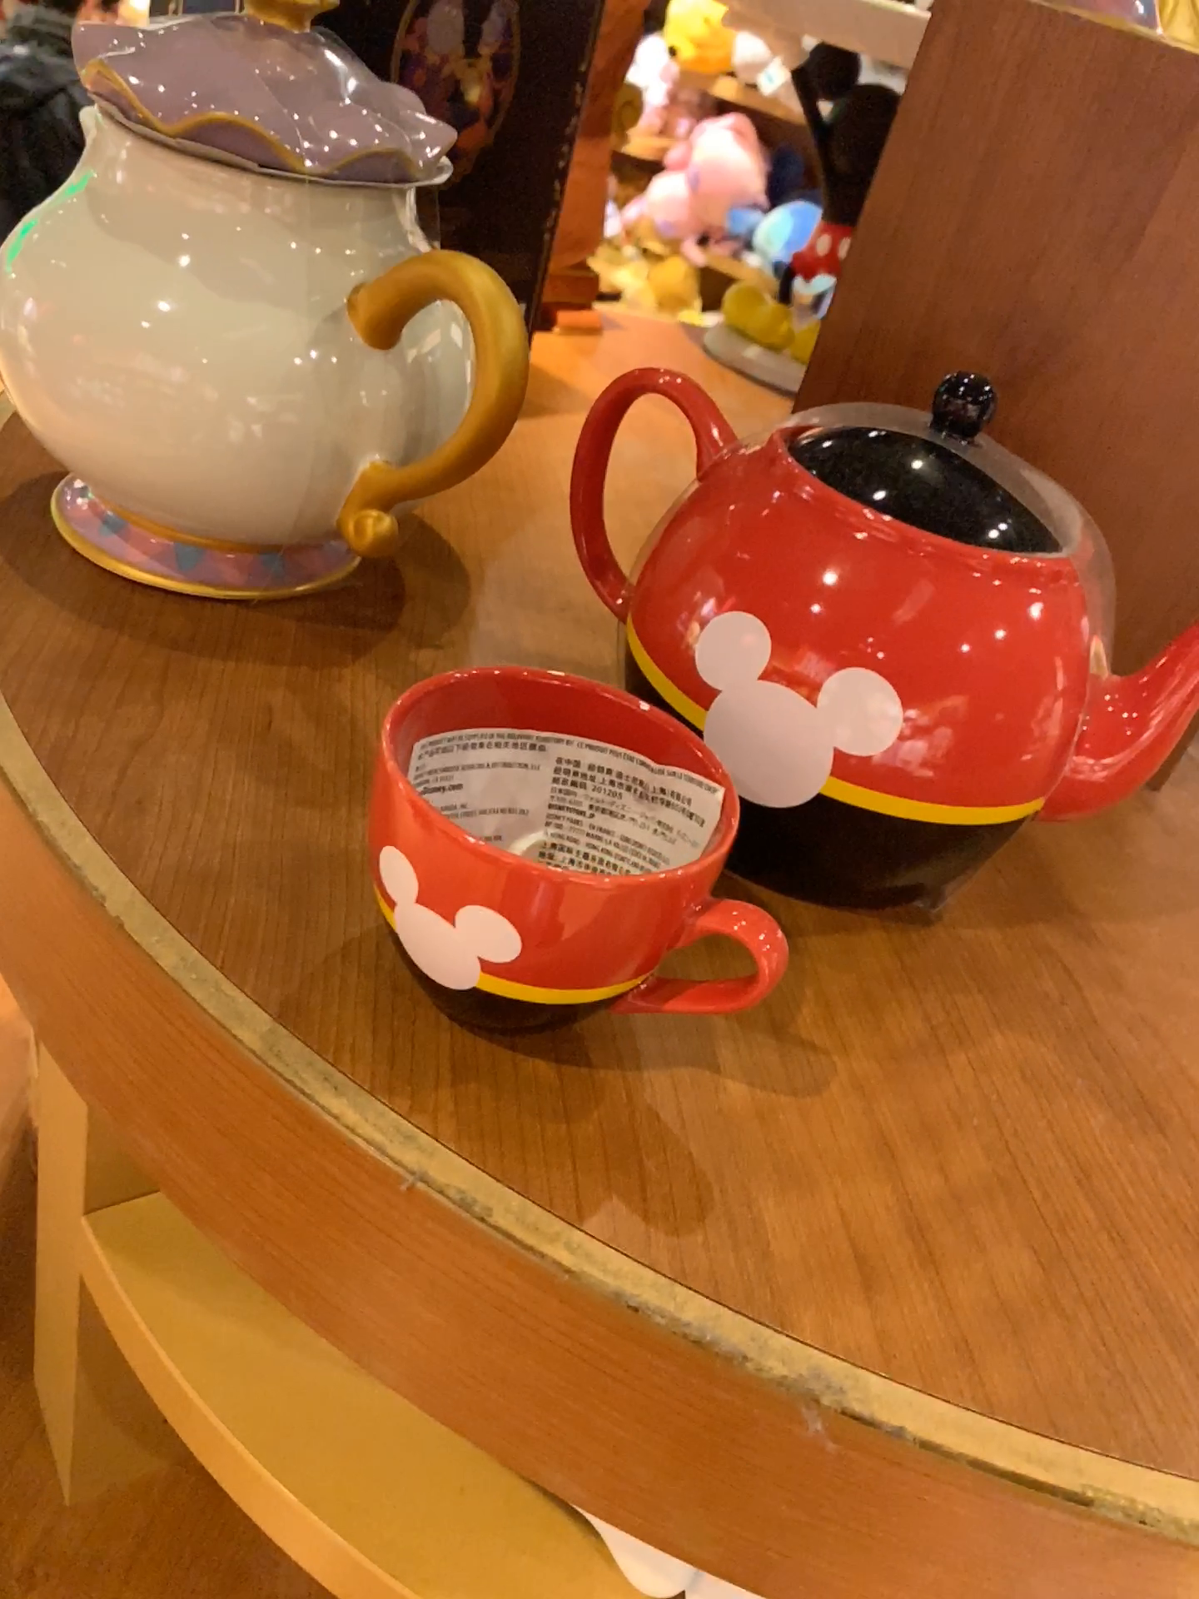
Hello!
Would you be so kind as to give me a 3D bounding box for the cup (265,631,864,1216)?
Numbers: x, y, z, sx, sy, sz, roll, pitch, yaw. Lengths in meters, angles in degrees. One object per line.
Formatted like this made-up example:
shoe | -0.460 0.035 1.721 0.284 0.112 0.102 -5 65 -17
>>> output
cup | -0.010 0.021 0.287 0.100 0.065 0.078 34 37 24
